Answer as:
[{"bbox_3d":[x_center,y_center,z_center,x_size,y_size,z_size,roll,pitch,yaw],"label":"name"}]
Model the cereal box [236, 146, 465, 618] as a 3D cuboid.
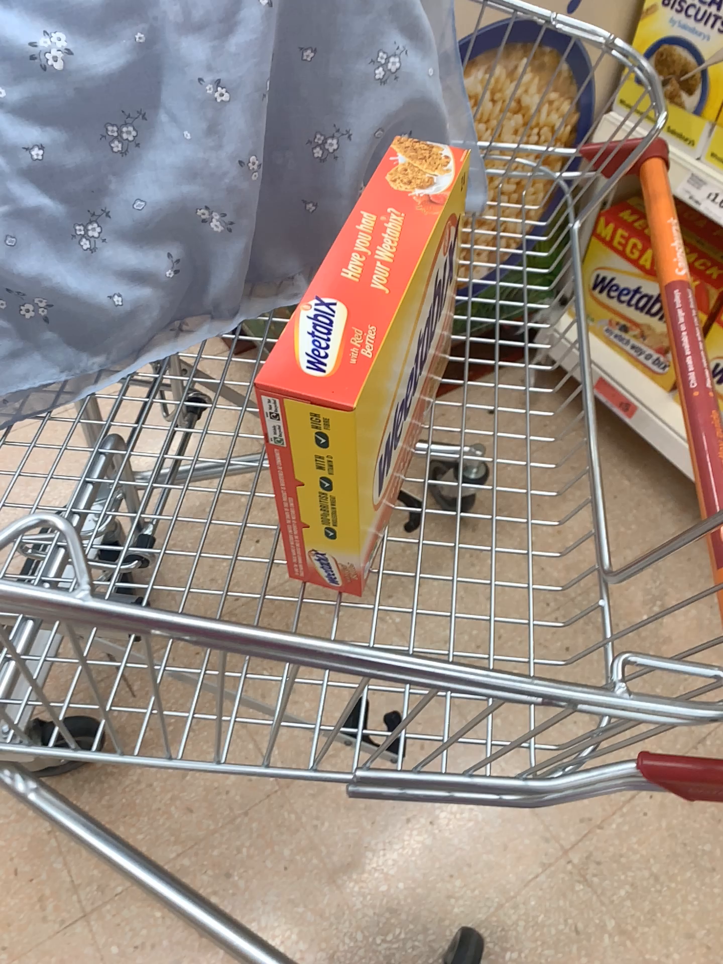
[{"bbox_3d":[0.005,-0.073,0.507,0.060,0.188,0.262,13,51,11],"label":"cereal box"}]
